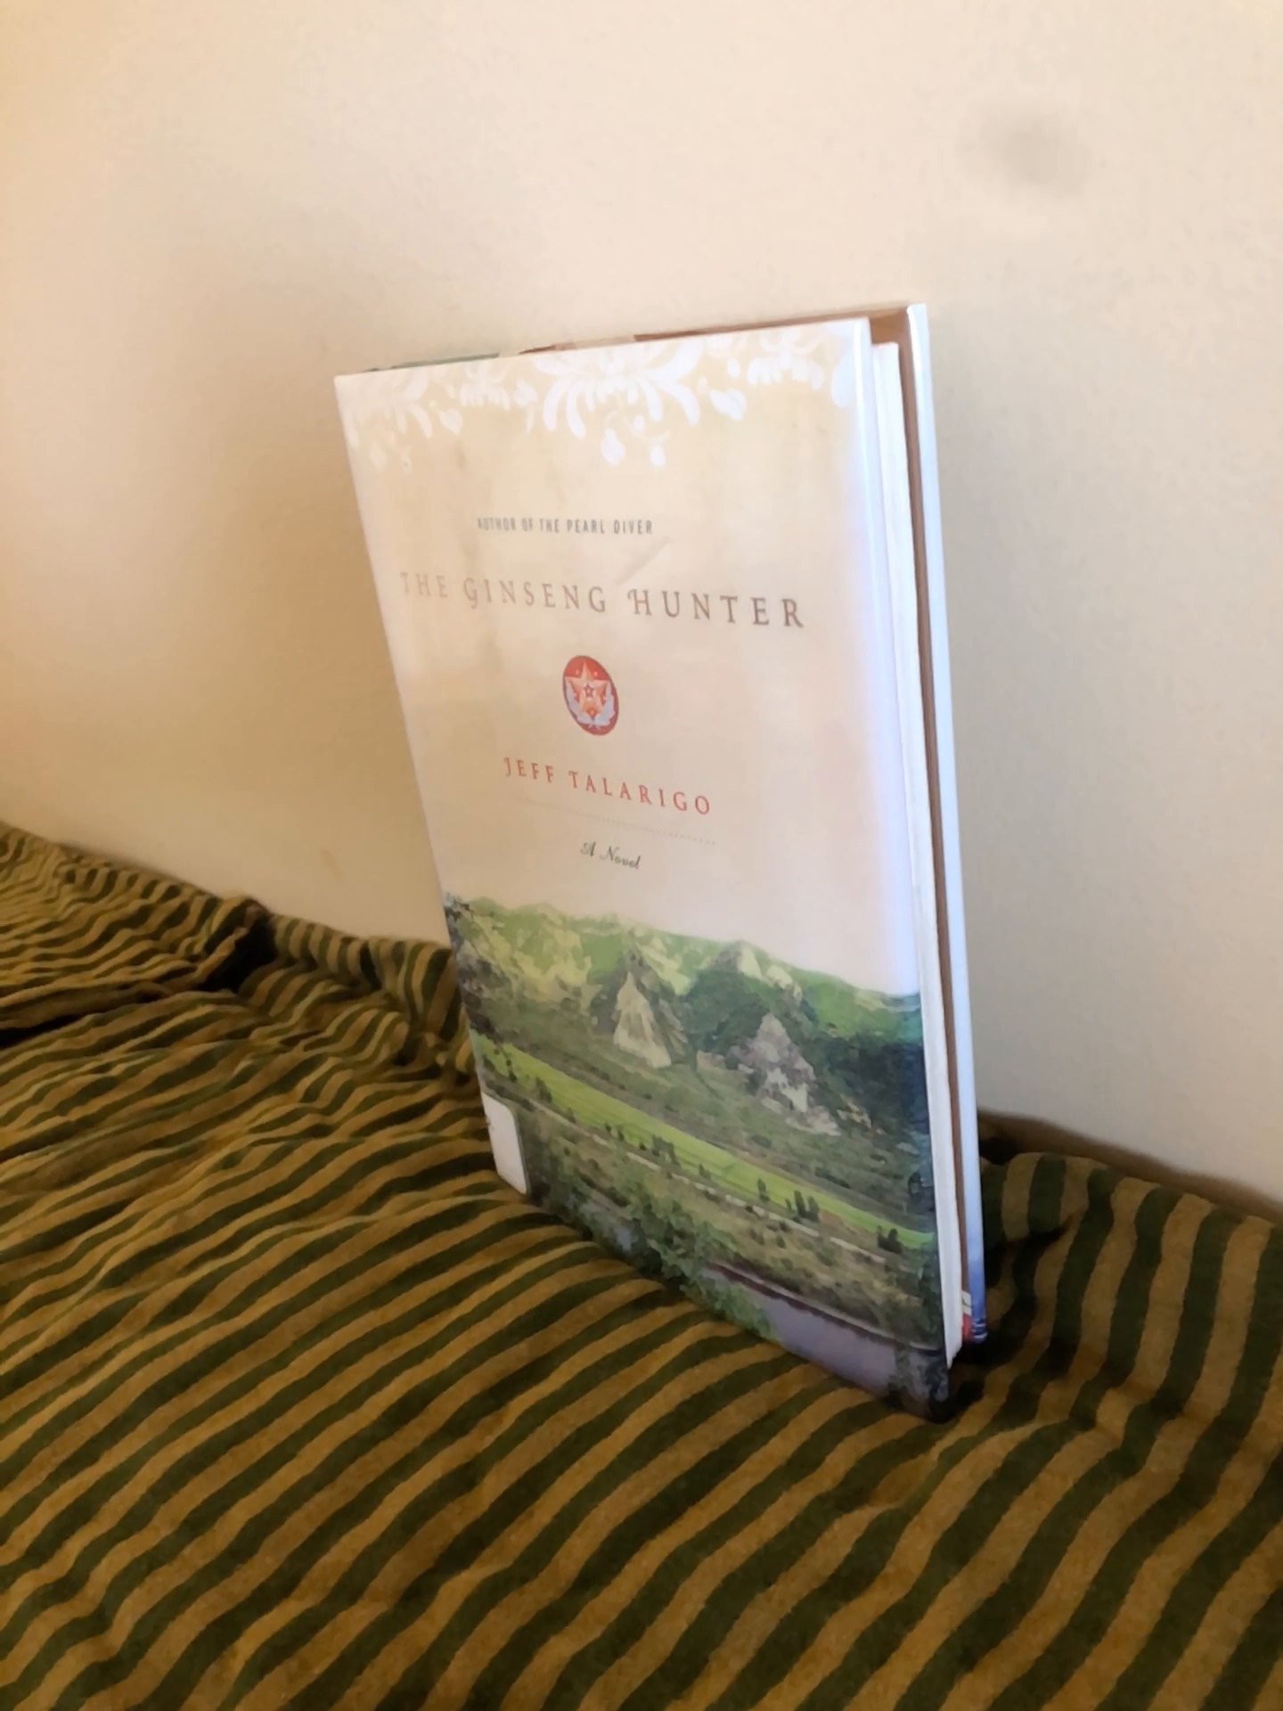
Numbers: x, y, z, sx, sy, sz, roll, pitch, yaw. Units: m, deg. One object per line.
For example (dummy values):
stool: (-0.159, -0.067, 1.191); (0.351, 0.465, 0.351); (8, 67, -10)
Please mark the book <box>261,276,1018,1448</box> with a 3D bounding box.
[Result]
book: (0.001, 0.002, 0.280); (0.138, 0.203, 0.029); (15, 34, 41)
